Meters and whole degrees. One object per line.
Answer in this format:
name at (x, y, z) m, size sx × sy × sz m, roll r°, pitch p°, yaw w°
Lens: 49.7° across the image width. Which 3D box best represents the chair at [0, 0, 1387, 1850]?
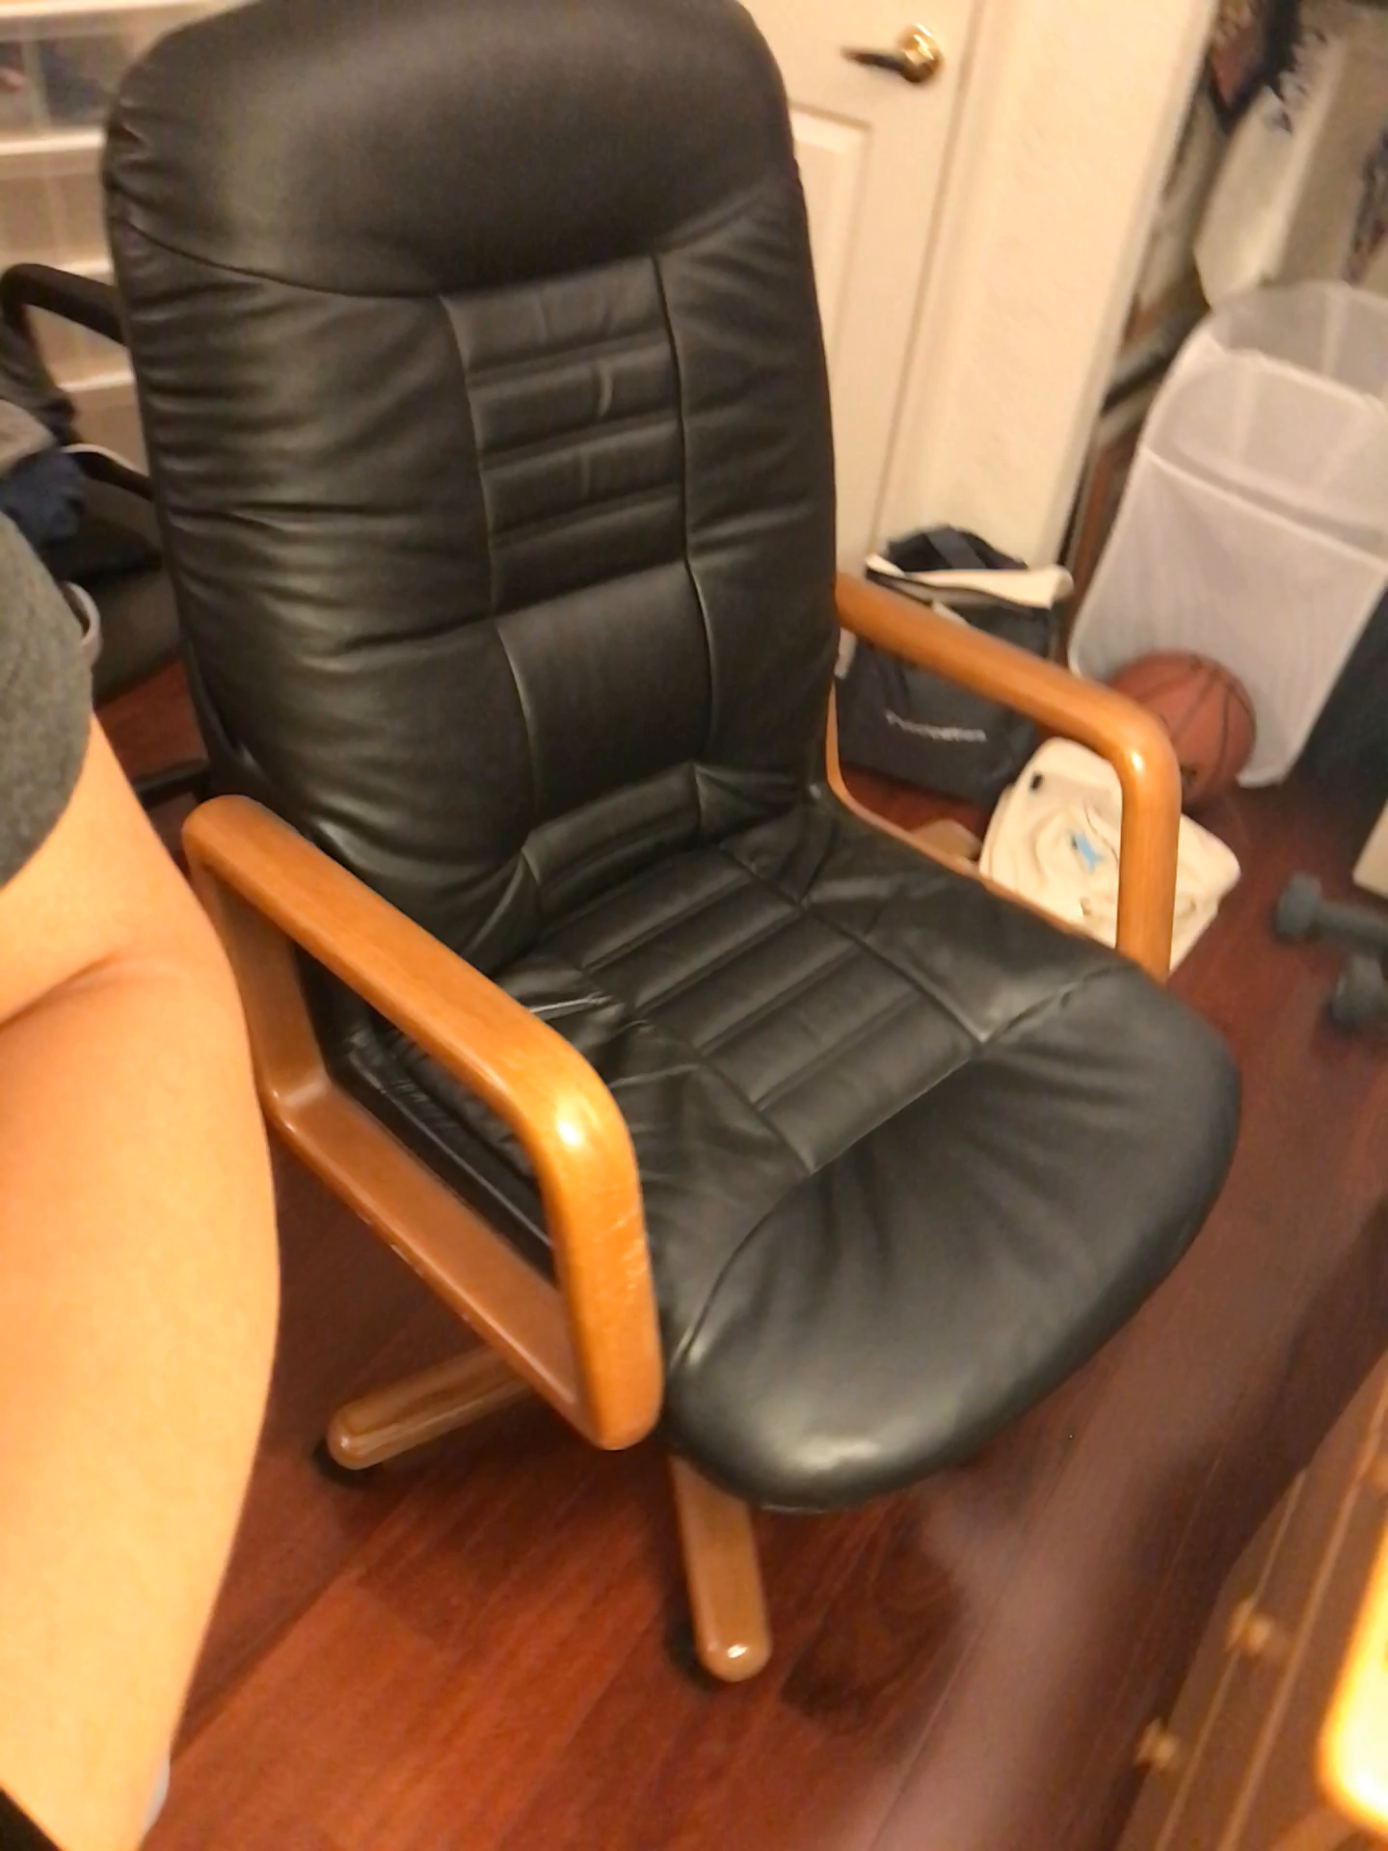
chair at (0.113, -0.037, 1.245) m, size 0.995 × 1.142 × 0.852 m, roll -30°, pitch 55°, yaw -33°
